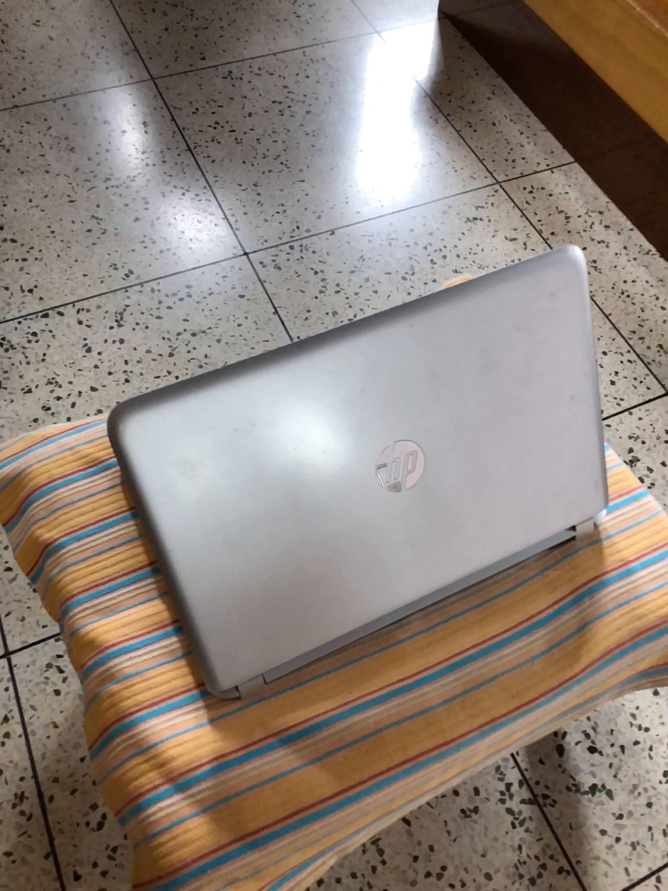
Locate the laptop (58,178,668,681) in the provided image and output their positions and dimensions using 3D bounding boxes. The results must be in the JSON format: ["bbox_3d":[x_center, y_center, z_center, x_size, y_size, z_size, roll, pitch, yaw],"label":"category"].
[{"bbox_3d":[0.016,-0.021,0.599,0.372,0.184,0.237,-21,63,-15],"label":"laptop"}]
